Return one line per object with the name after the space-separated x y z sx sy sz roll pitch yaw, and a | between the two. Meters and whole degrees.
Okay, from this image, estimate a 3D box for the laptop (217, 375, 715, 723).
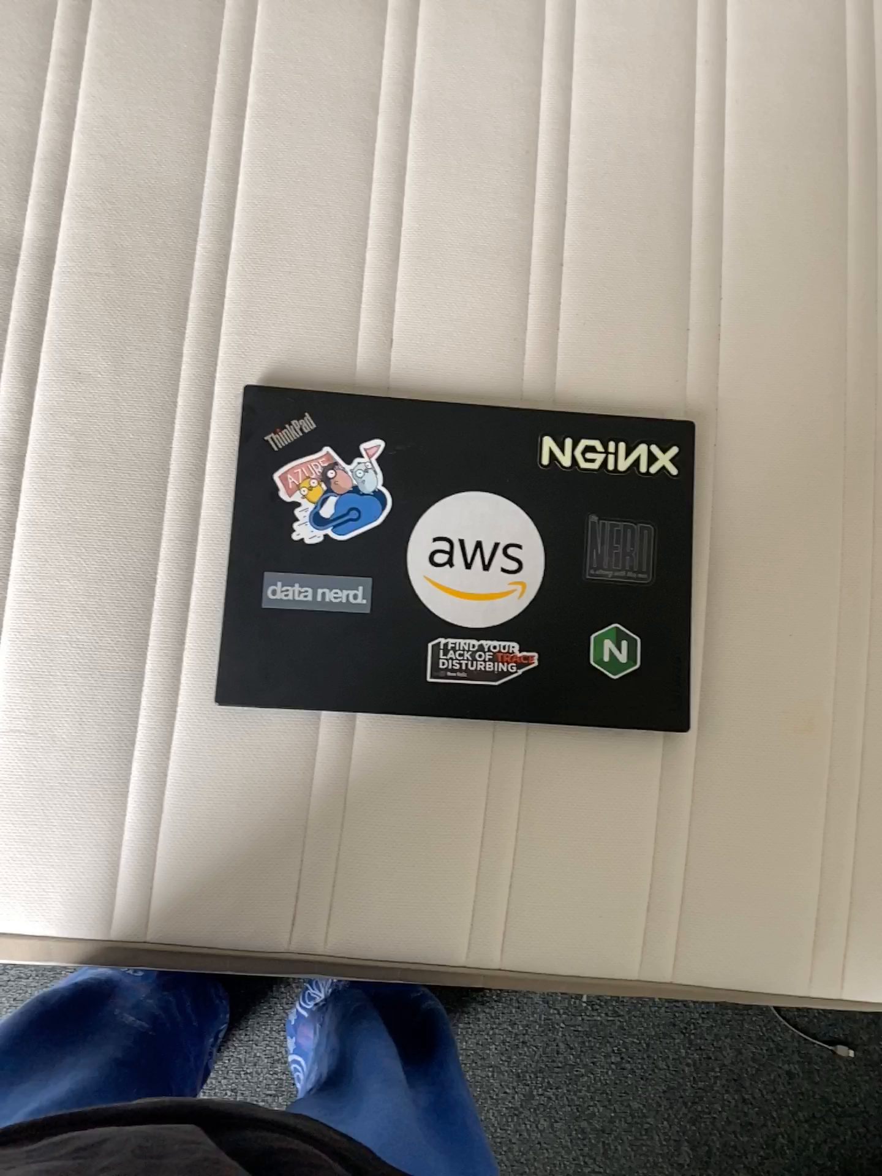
0.025 -0.028 0.619 0.322 0.014 0.224 4 79 -3 | laptop
